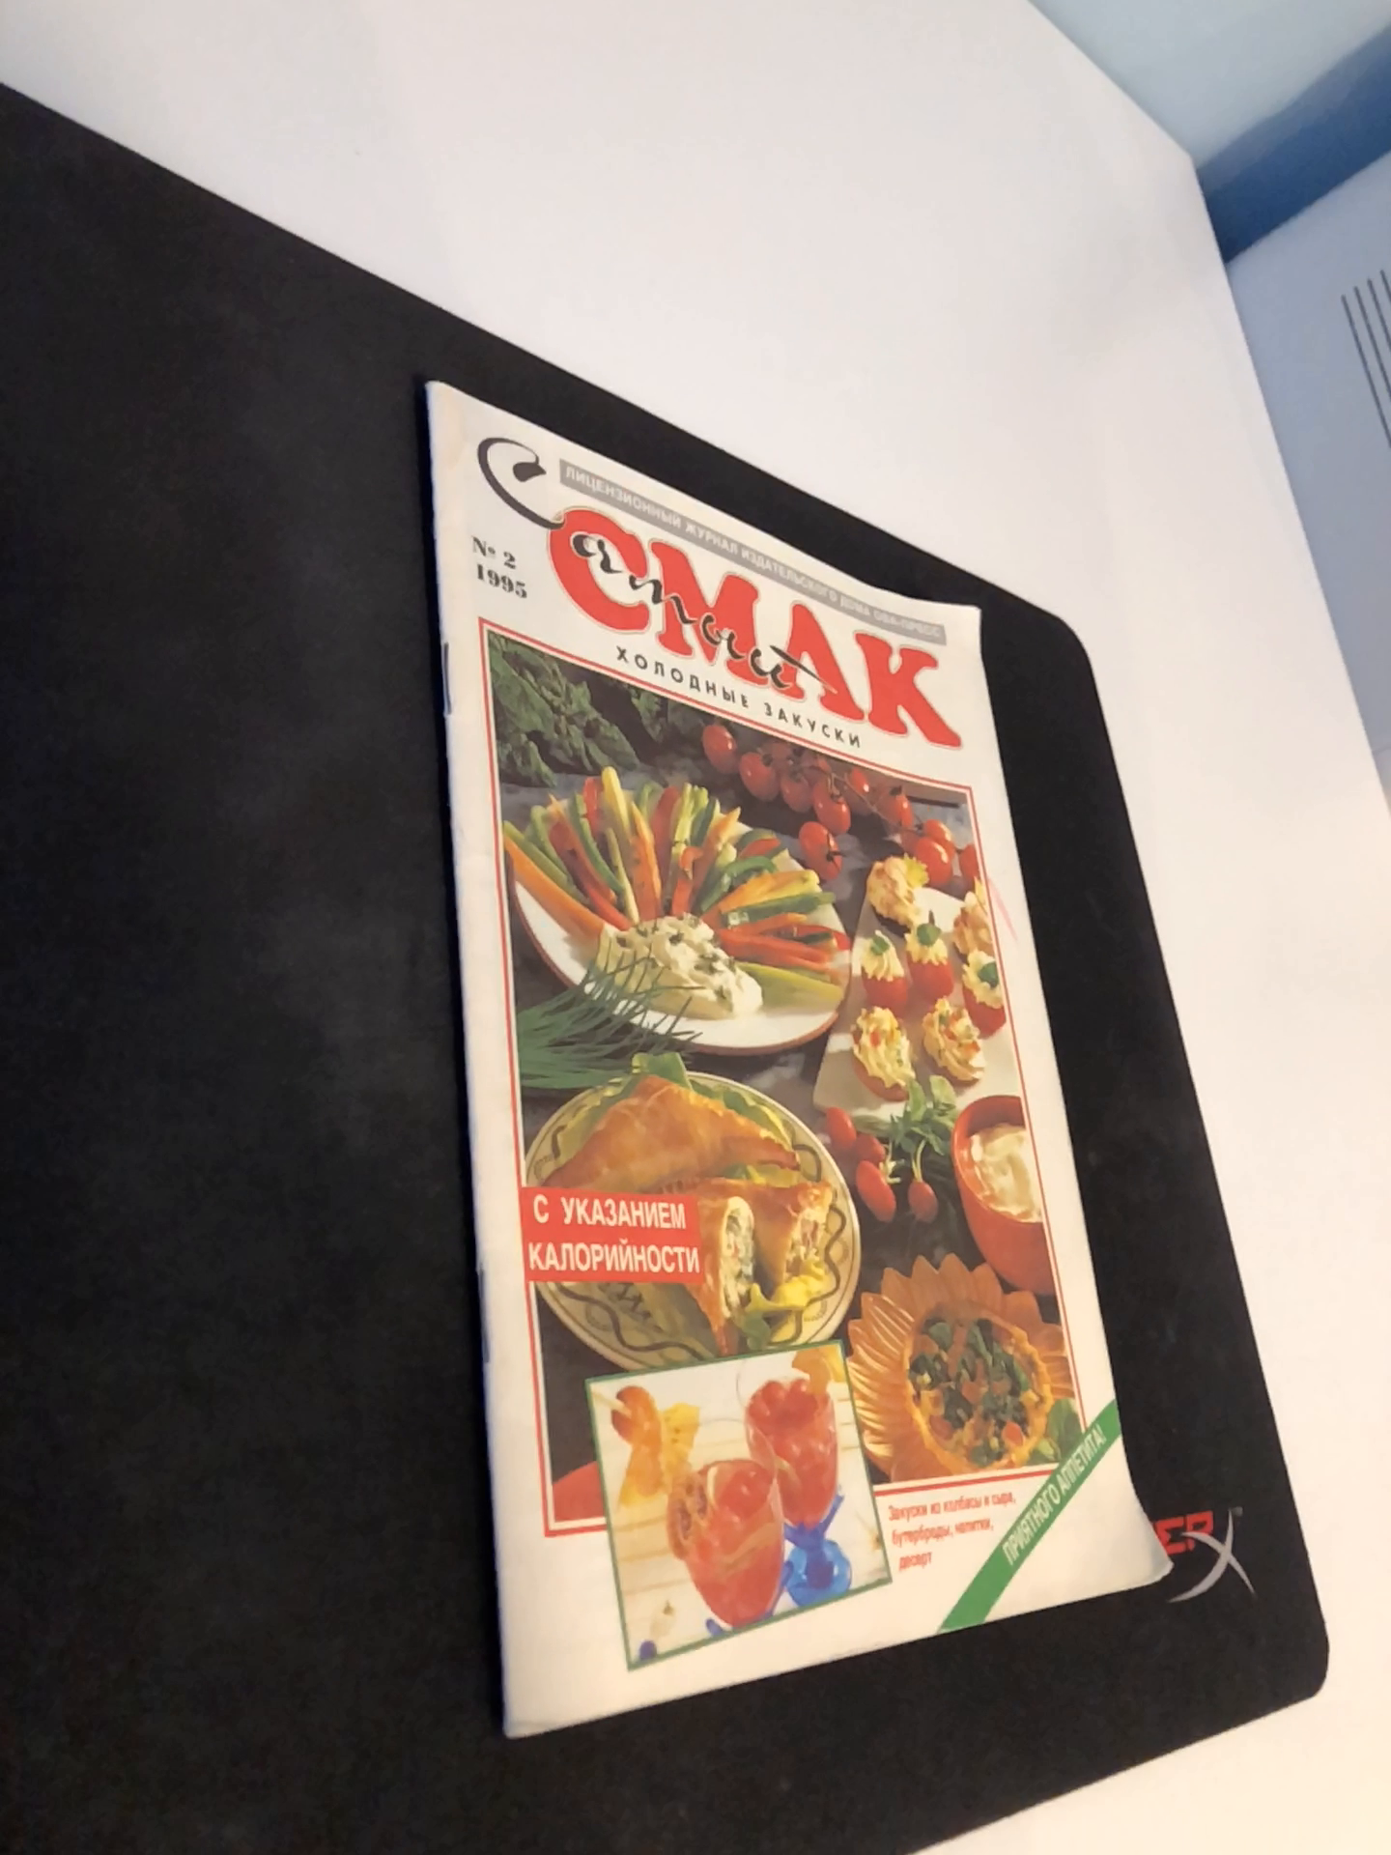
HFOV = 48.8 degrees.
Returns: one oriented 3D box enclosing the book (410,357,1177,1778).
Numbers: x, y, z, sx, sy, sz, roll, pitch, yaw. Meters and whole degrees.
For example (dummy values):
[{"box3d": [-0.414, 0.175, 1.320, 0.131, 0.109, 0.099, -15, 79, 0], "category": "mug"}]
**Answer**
[{"box3d": [0.022, 0.017, 0.297, 0.161, 0.010, 0.230, 12, 63, -42], "category": "book"}]
